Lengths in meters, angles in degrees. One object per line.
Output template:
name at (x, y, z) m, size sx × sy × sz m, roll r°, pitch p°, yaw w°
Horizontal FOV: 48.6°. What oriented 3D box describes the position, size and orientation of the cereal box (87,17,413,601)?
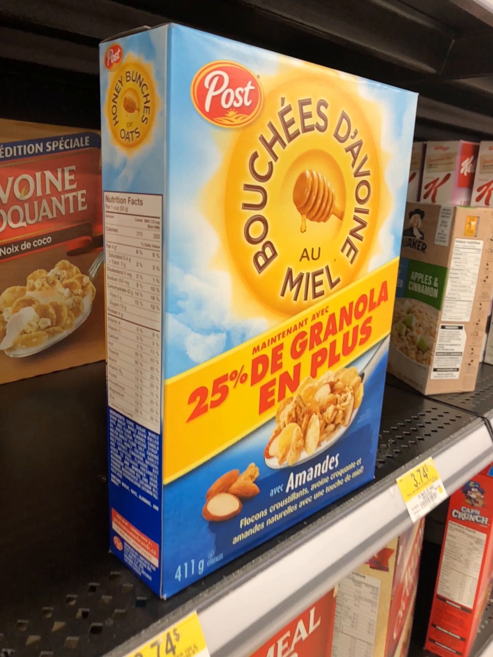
cereal box at (0.009, -0.012, 0.331) m, size 0.190 × 0.269 × 0.060 m, roll -10°, pitch 17°, yaw -42°
